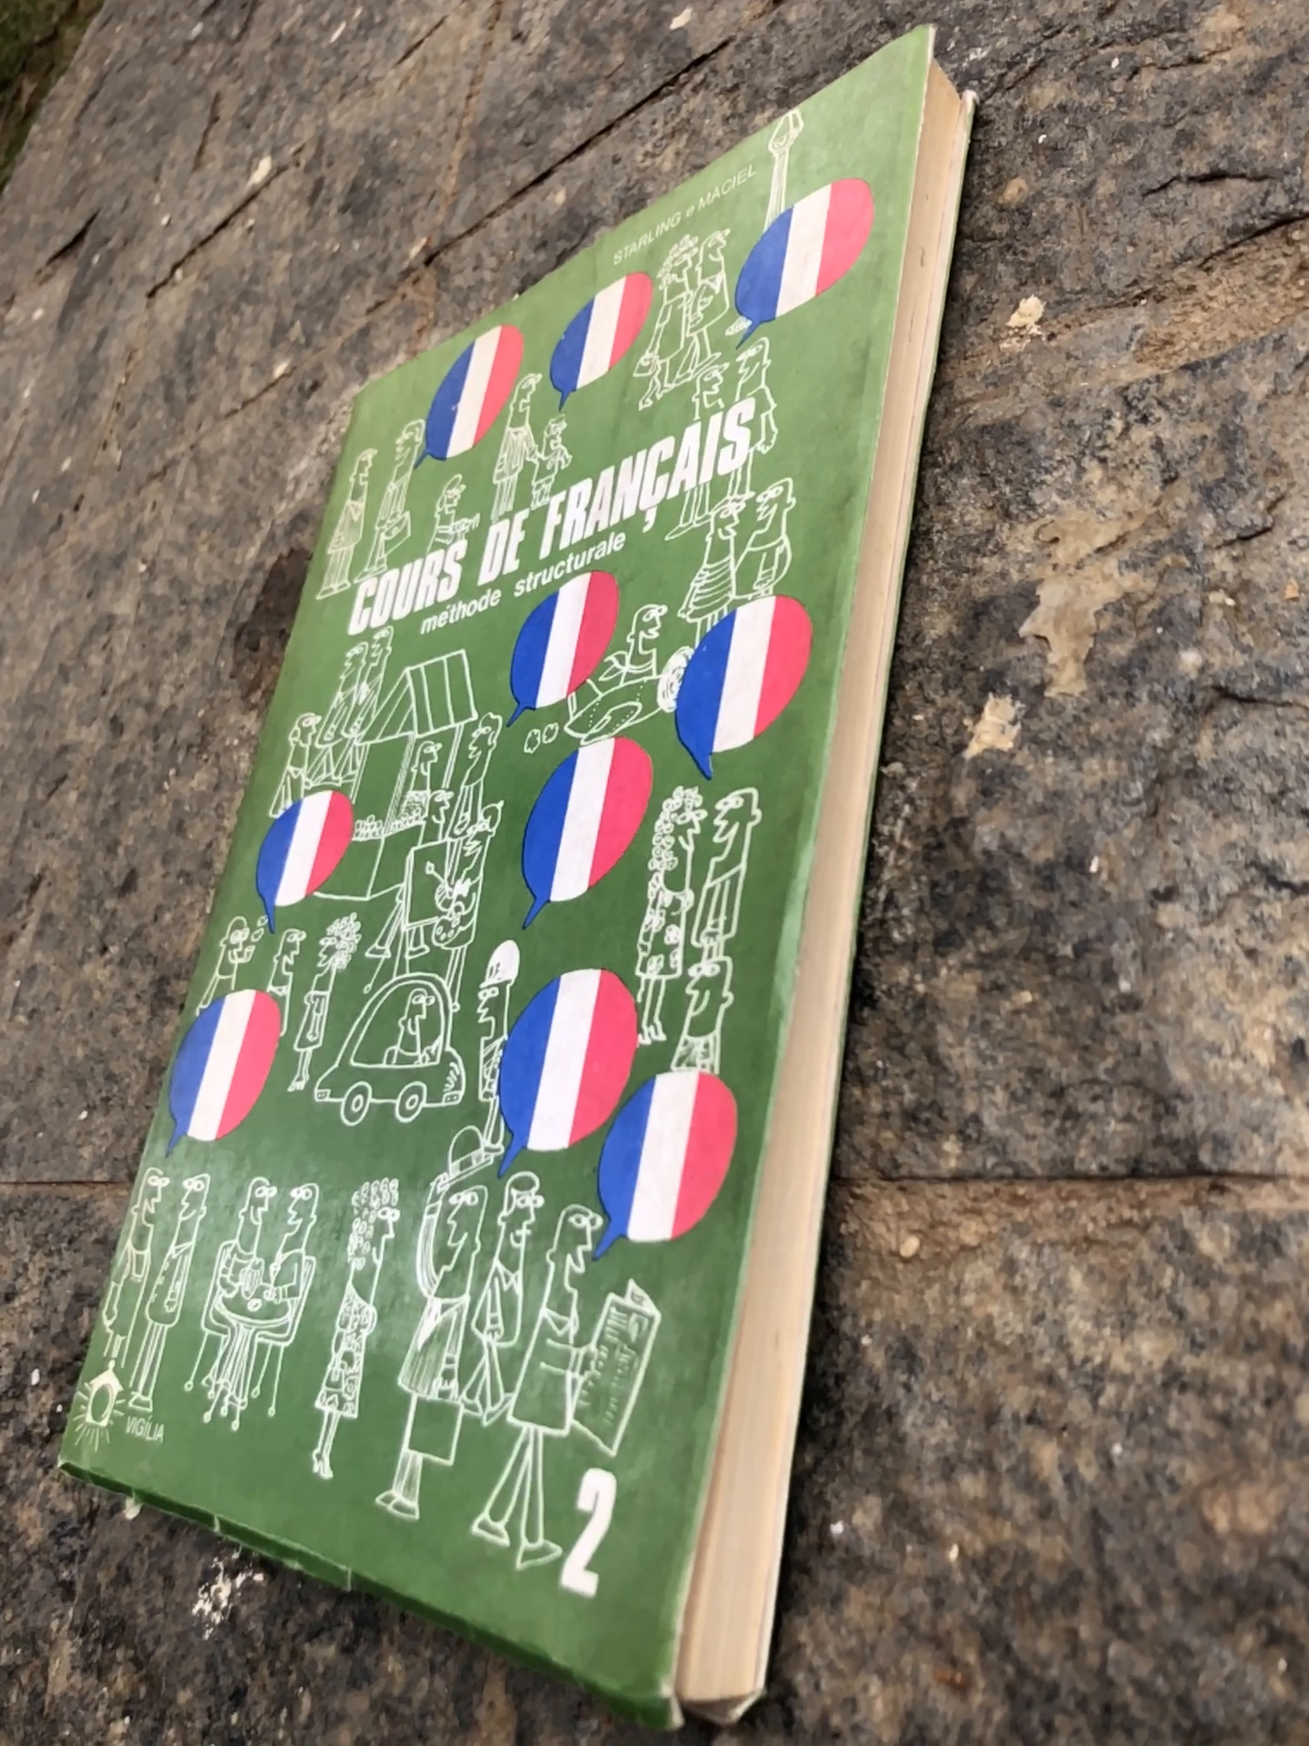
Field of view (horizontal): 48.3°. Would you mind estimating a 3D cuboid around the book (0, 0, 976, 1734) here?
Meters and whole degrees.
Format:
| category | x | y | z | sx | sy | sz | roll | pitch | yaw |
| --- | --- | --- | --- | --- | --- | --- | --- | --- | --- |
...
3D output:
| category | x | y | z | sx | sy | sz | roll | pitch | yaw |
| --- | --- | --- | --- | --- | --- | --- | --- | --- | --- |
| book | -0.034 | -0.010 | 0.227 | 0.168 | 0.013 | 0.211 | -11 | 62 | 46 |
